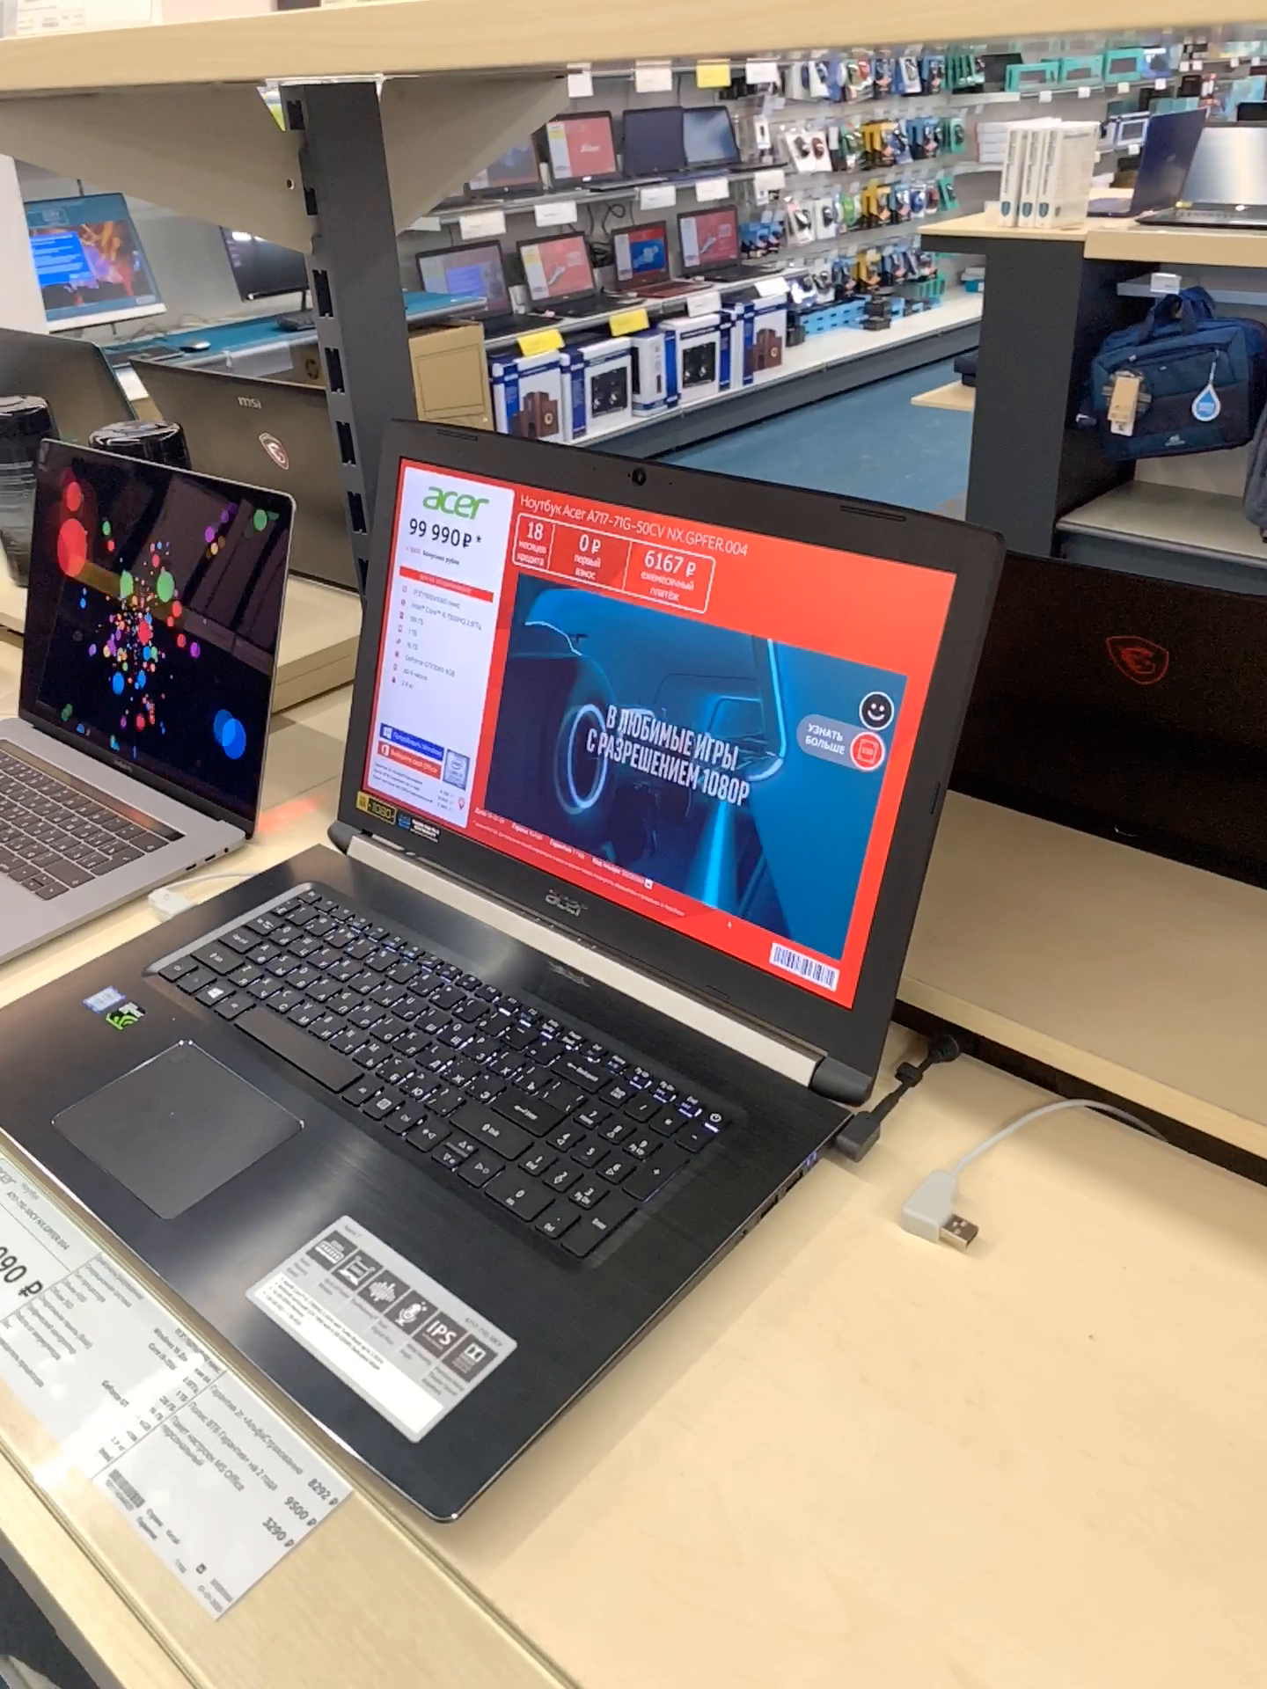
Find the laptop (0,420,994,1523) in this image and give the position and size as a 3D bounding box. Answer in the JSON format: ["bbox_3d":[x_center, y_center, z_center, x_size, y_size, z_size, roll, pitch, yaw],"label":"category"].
[{"bbox_3d":[-0.110,-0.012,0.622,0.407,0.248,0.363,22,39,35],"label":"laptop"}]
